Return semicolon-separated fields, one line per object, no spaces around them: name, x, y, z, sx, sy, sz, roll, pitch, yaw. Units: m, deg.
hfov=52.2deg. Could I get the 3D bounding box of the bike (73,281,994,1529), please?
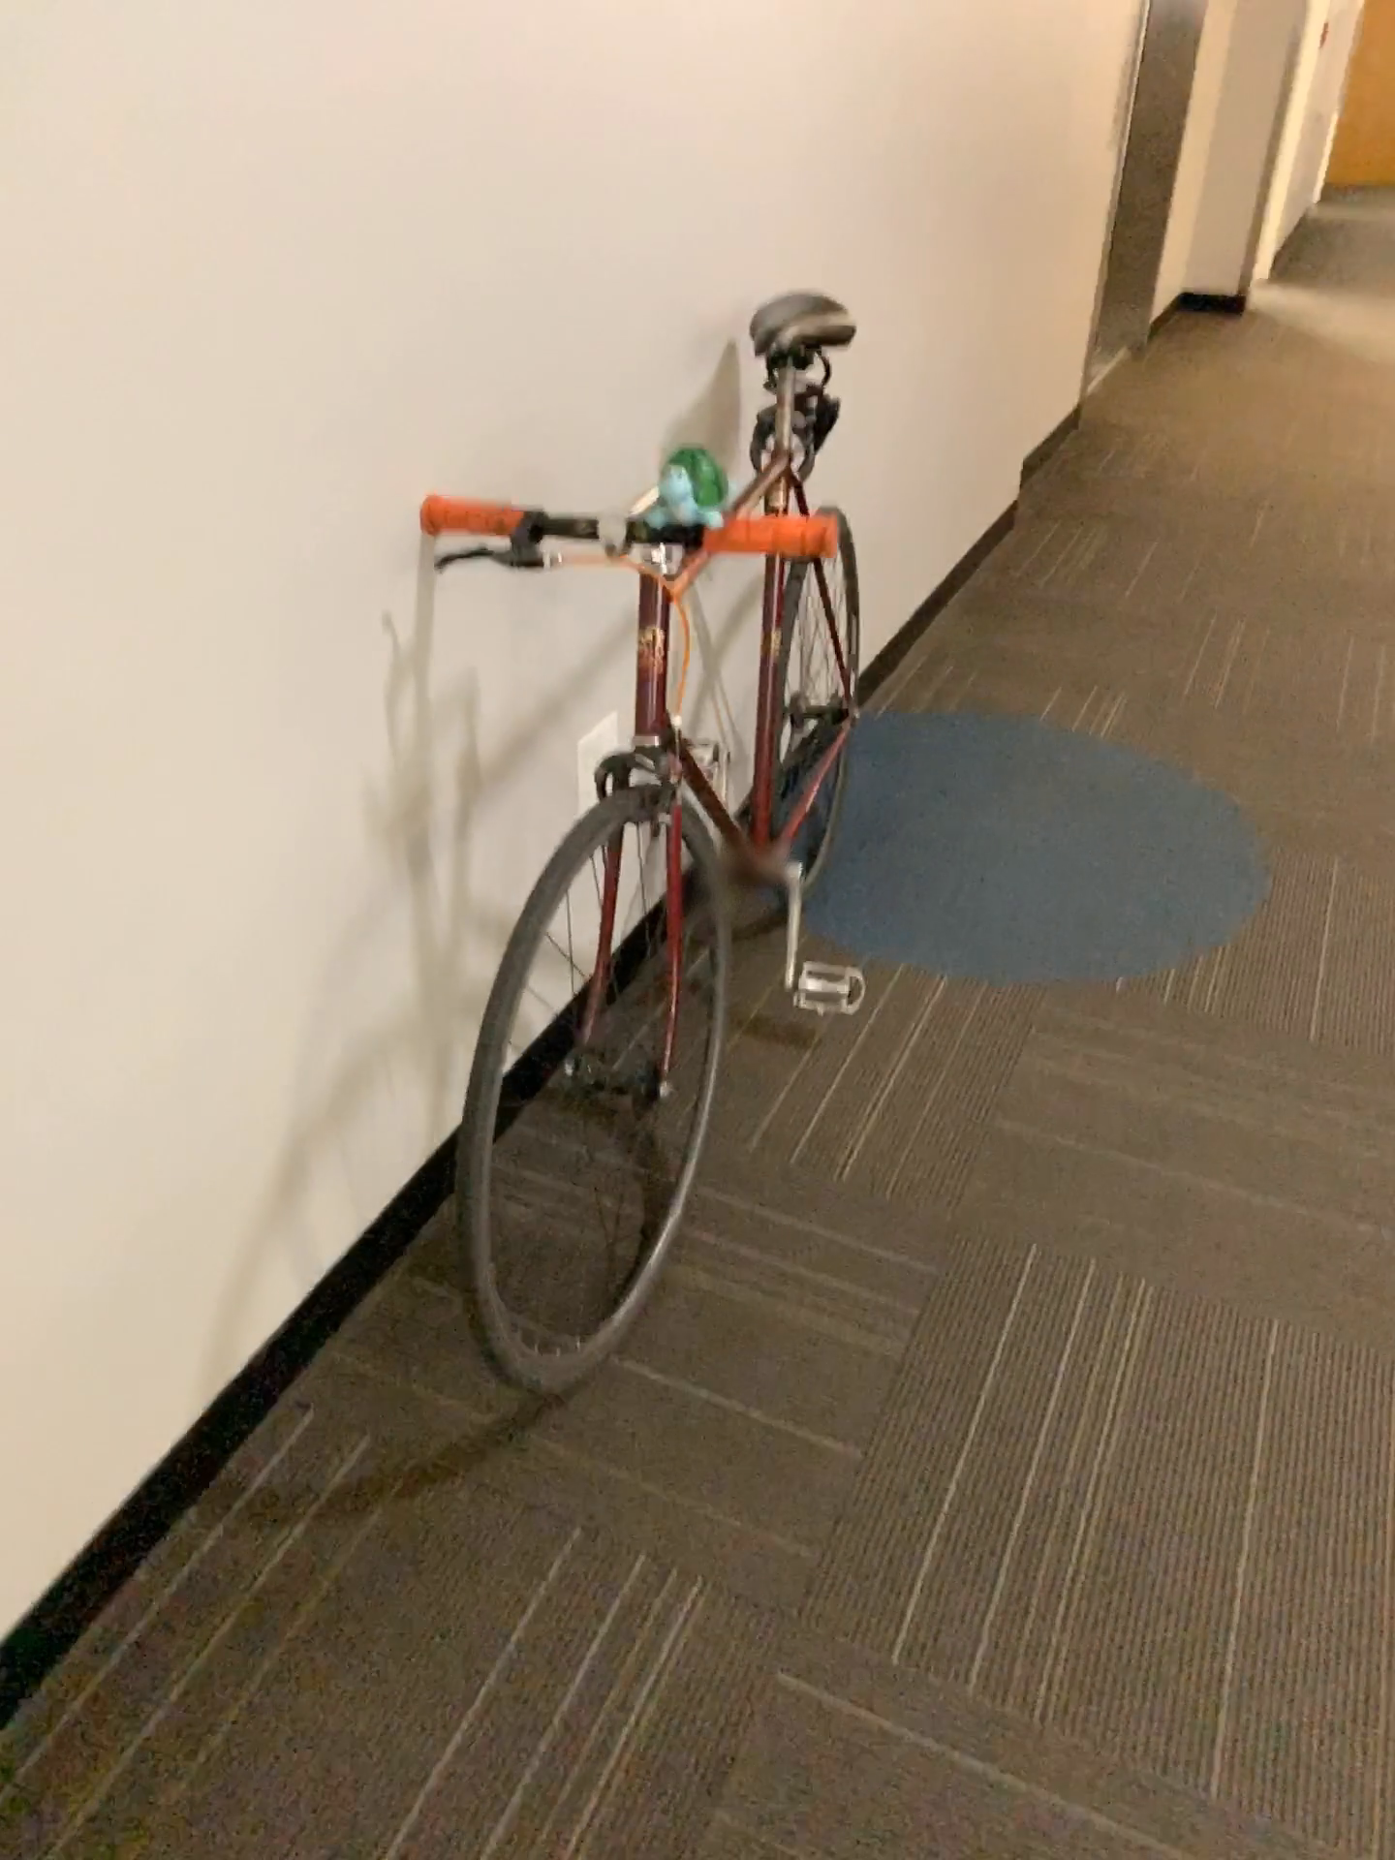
bike;-0.004;-0.233;1.890;0.449;0.909;1.634;11;34;14
